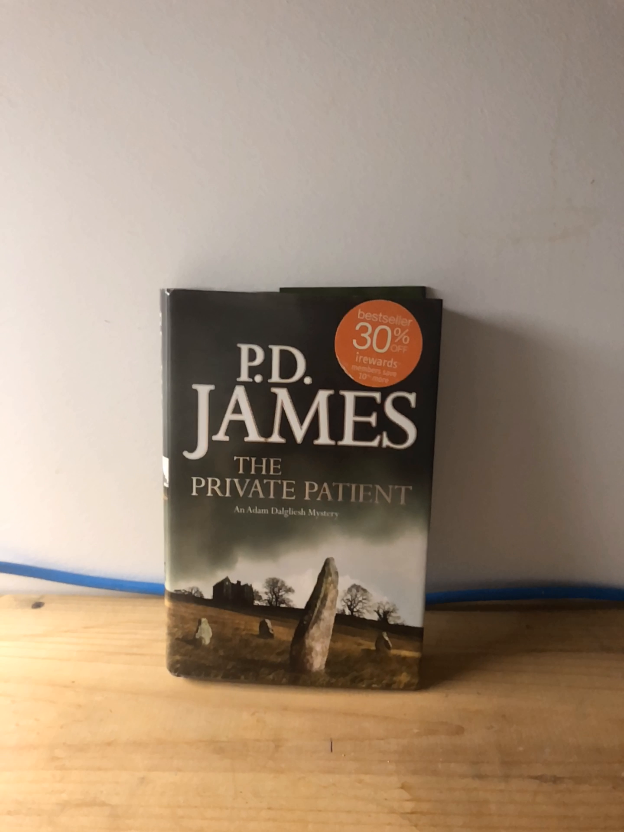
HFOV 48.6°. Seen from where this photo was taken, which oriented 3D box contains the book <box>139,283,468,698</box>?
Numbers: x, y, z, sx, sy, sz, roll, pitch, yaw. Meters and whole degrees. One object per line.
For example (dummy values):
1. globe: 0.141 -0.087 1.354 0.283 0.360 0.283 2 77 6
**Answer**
1. book: -0.006 0.040 0.408 0.180 0.230 0.040 2 8 8
